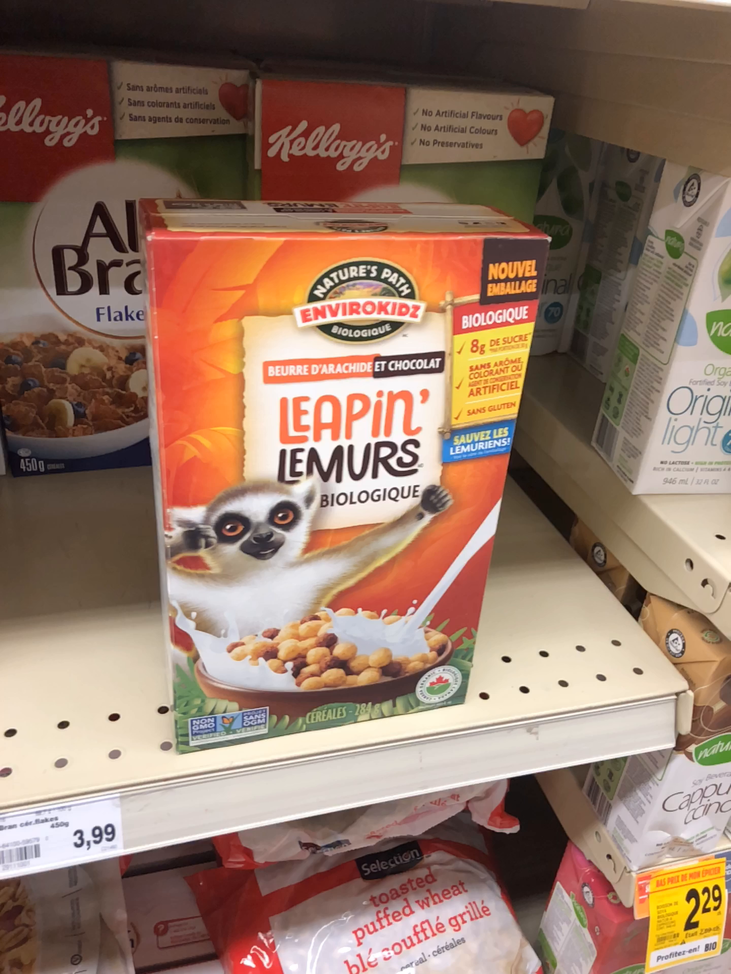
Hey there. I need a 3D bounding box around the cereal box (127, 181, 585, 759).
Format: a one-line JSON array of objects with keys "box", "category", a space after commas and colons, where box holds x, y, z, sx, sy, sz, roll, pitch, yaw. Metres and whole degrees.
[{"box": [-0.015, -0.002, 0.385, 0.170, 0.258, 0.071, -5, 32, -17], "category": "cereal box"}]
